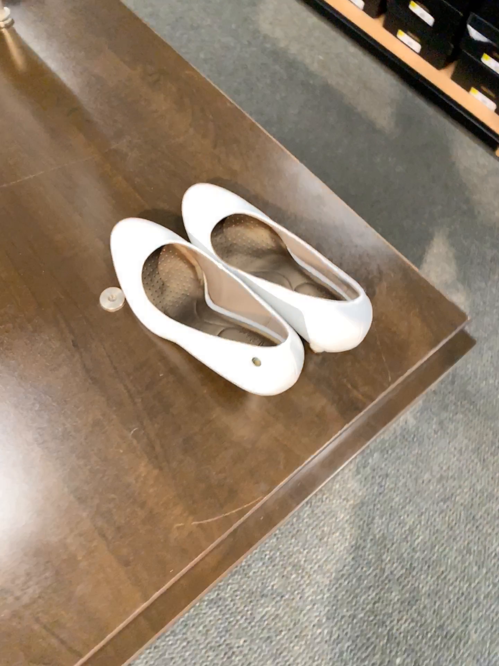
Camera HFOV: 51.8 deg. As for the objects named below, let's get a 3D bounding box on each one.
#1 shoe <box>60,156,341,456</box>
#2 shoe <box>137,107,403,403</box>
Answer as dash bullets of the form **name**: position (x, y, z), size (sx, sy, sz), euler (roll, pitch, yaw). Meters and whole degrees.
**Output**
- **shoe**: position (-0.049, -0.025, 0.479), size (0.090, 0.110, 0.260), euler (-38, 73, -17)
- **shoe**: position (0.009, -0.076, 0.496), size (0.090, 0.110, 0.260), euler (-34, 71, -15)
